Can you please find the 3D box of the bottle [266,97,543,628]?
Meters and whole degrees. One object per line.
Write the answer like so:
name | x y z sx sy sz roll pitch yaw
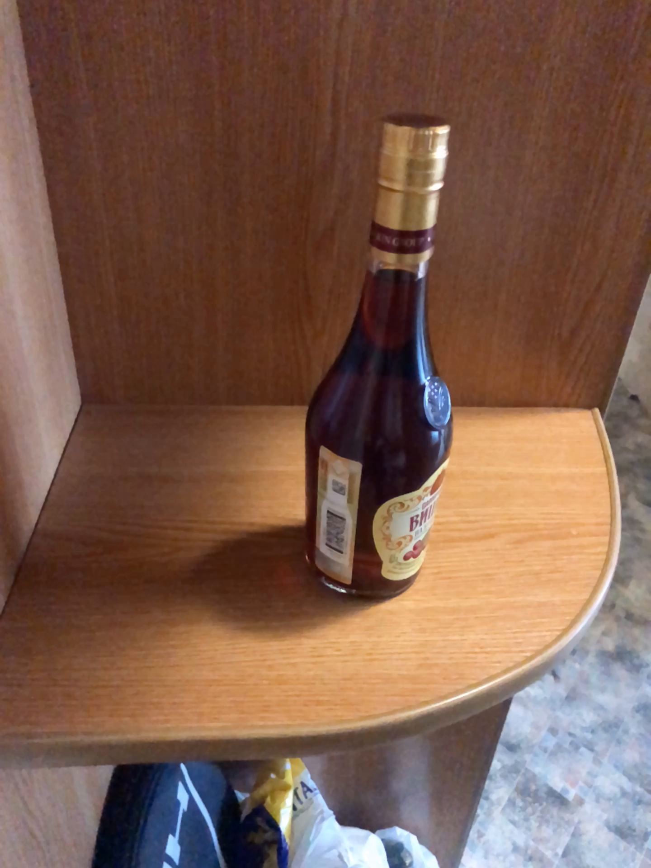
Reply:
bottle | 0.030 -0.030 0.370 0.080 0.244 0.090 25 40 28
